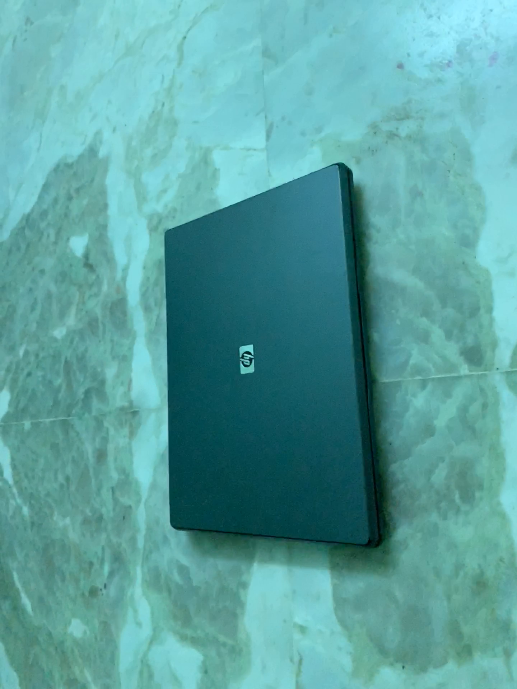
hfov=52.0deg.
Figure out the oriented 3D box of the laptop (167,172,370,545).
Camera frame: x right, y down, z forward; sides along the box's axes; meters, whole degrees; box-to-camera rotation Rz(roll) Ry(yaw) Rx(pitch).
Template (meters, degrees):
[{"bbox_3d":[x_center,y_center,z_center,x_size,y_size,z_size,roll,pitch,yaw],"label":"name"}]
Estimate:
[{"bbox_3d":[-0.009,0.017,0.509,0.228,0.001,0.310,-10,79,39],"label":"laptop"}]
